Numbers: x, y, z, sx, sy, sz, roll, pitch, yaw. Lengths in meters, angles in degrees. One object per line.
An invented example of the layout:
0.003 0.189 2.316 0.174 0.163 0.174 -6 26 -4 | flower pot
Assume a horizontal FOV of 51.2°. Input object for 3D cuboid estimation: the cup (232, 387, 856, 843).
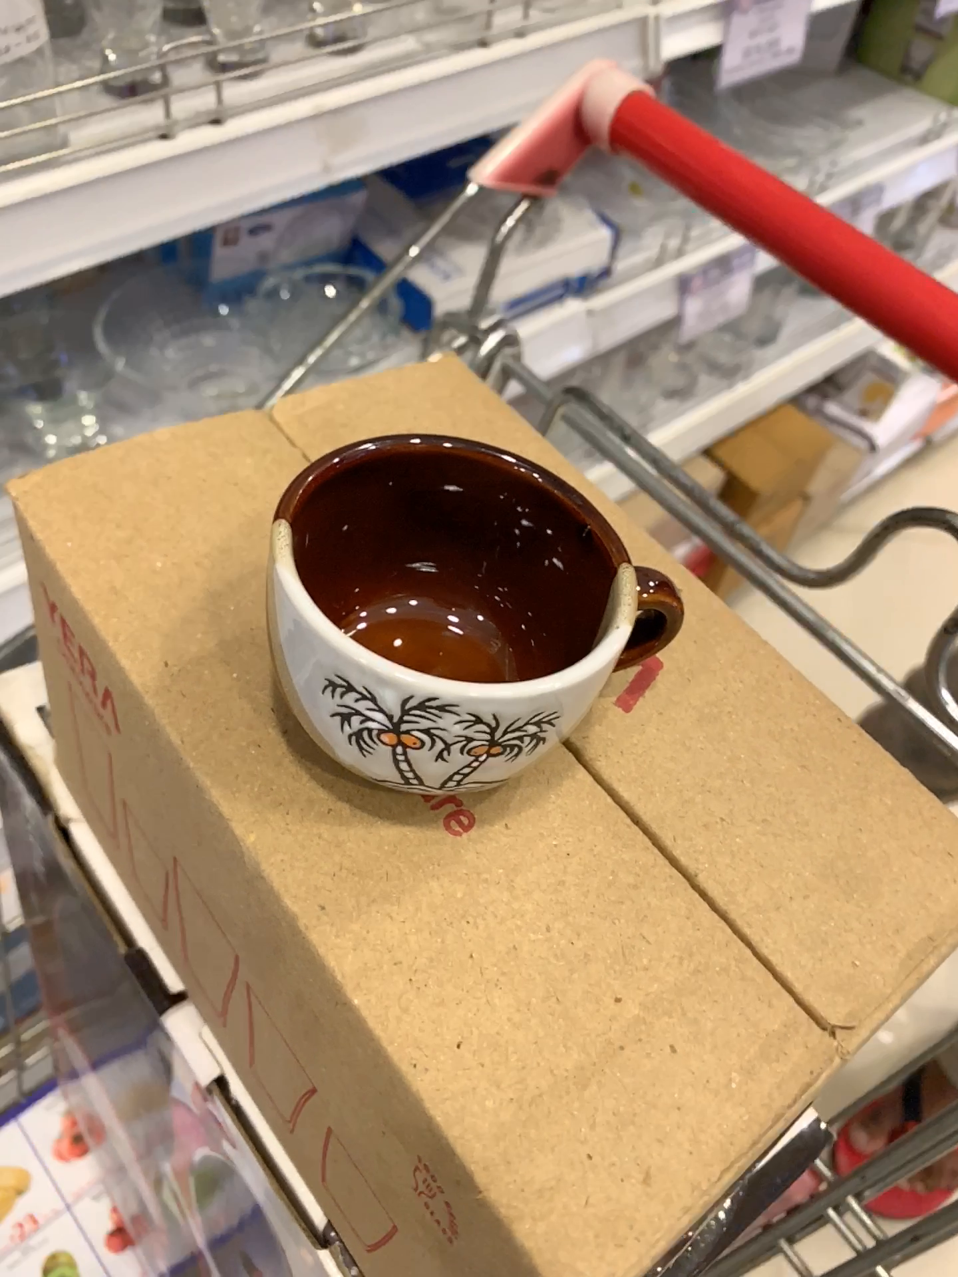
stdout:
0.005 -0.006 0.200 0.100 0.060 0.060 -4 54 -18 | cup
